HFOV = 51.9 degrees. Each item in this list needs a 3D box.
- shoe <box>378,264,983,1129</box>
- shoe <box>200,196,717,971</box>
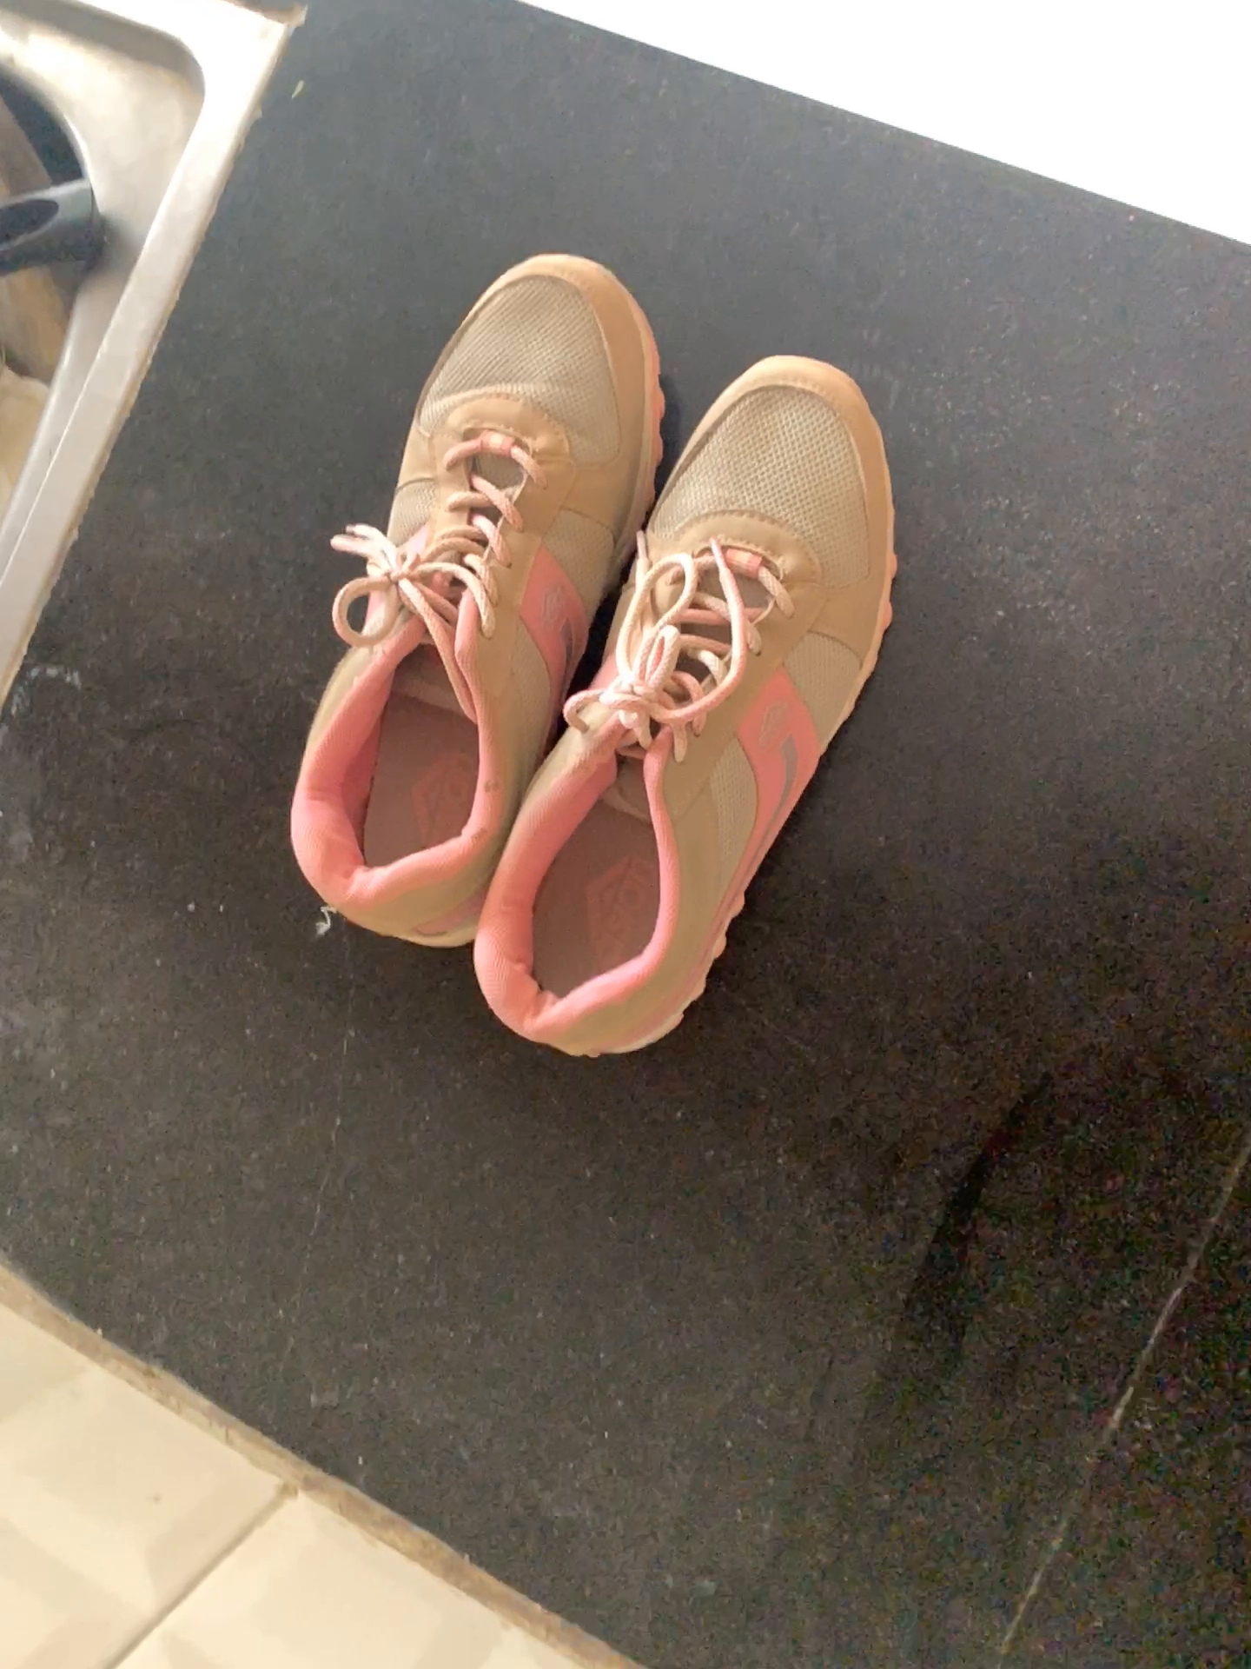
[{"bbox_3d":[0.023,-0.041,0.433,0.100,0.100,0.240,22,92,12],"label":"shoe"},{"bbox_3d":[-0.051,-0.079,0.452,0.090,0.100,0.230,17,91,12],"label":"shoe"}]
